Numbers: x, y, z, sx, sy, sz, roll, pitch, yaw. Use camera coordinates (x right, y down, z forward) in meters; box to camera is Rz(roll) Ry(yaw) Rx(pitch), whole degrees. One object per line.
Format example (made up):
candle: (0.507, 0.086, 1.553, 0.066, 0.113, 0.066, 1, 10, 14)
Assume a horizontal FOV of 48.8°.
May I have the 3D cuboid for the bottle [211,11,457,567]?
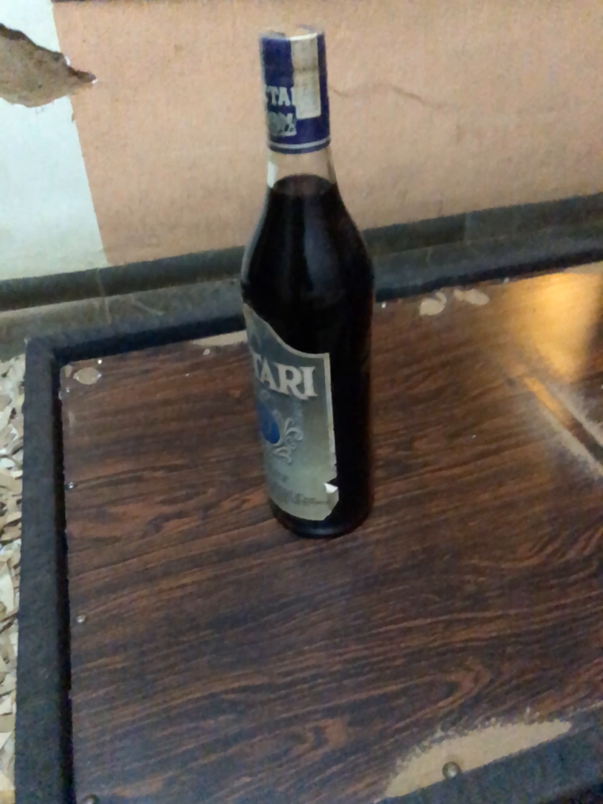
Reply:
bottle: (0.014, -0.046, 0.395, 0.080, 0.308, 0.091, -16, 41, -17)
